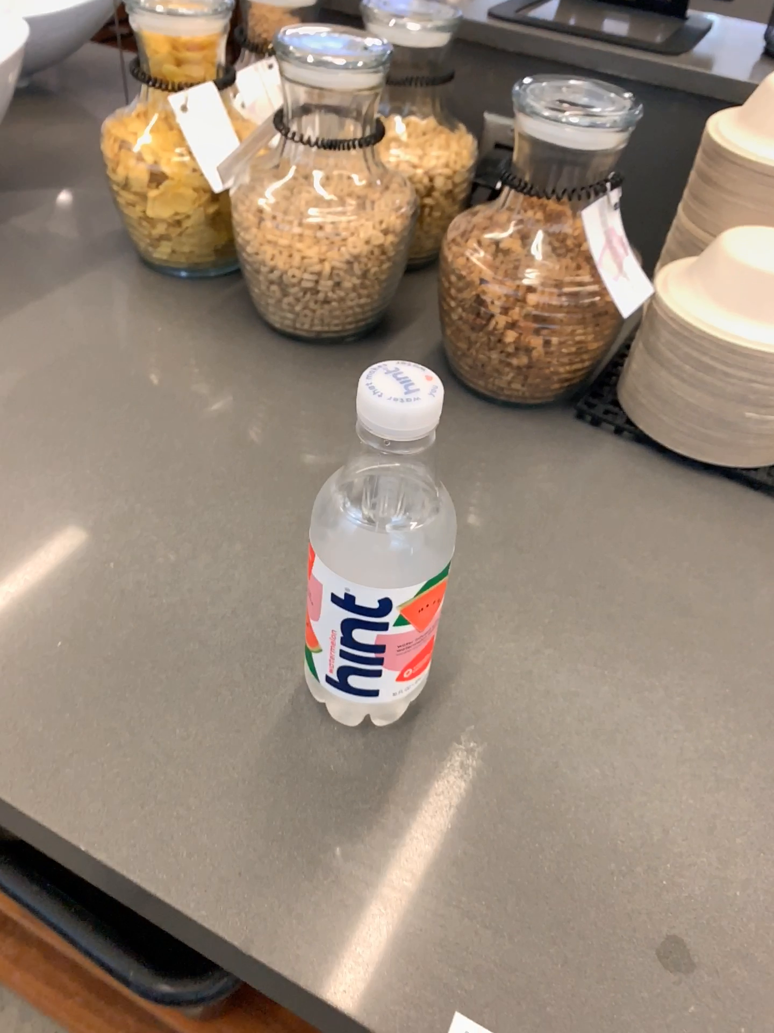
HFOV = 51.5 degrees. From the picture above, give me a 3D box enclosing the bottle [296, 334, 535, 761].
[{"bbox_3d":[0.001,0.024,0.373,0.070,0.199,0.070,4,43,-4],"label":"bottle"}]
